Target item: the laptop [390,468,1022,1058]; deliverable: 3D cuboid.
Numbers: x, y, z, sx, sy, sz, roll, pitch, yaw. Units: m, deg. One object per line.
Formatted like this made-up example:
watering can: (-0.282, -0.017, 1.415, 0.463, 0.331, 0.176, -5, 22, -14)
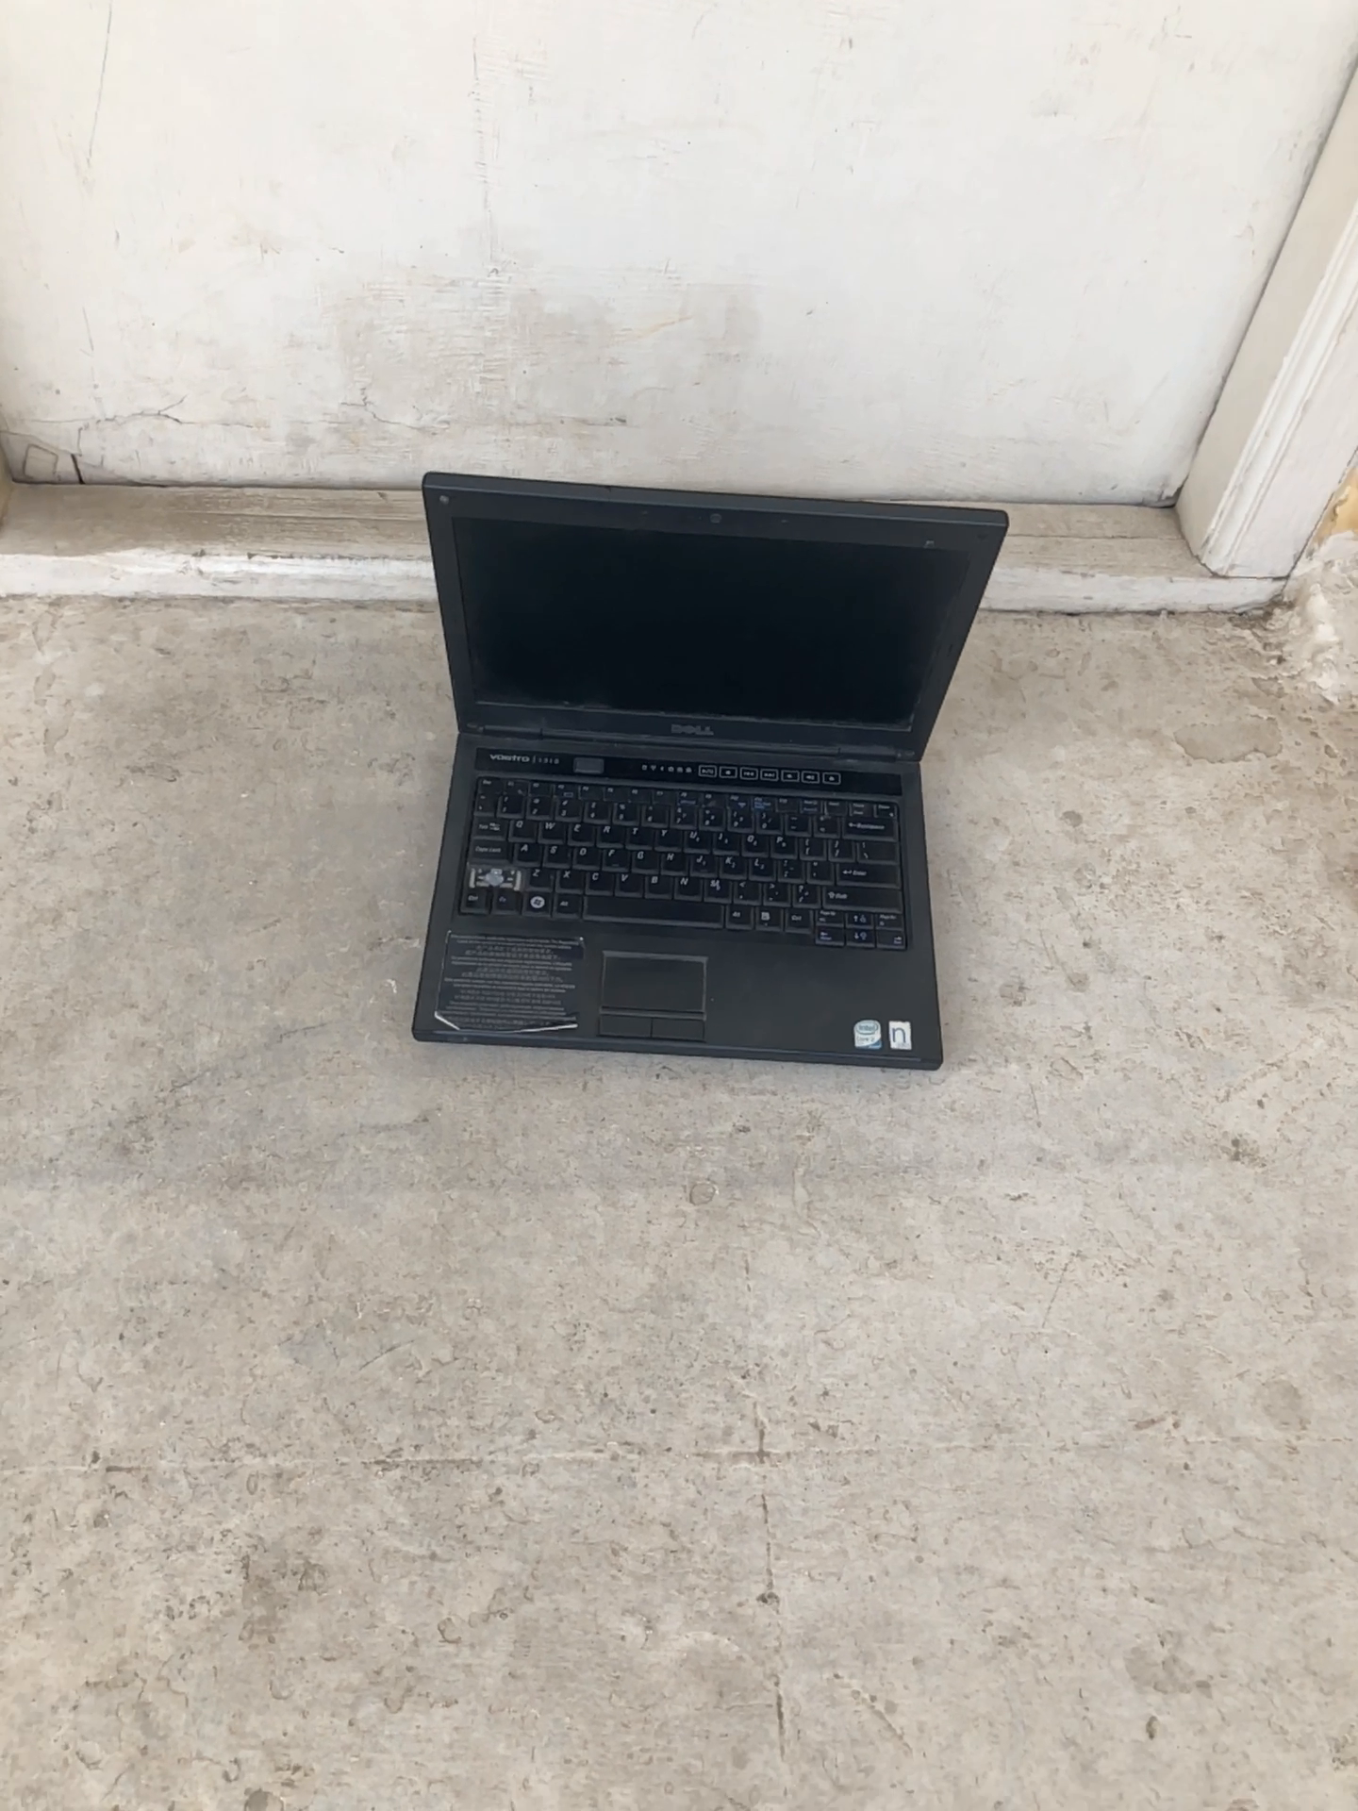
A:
laptop: (0.010, -0.073, 0.835, 0.292, 0.219, 0.214, 3, 56, -1)
